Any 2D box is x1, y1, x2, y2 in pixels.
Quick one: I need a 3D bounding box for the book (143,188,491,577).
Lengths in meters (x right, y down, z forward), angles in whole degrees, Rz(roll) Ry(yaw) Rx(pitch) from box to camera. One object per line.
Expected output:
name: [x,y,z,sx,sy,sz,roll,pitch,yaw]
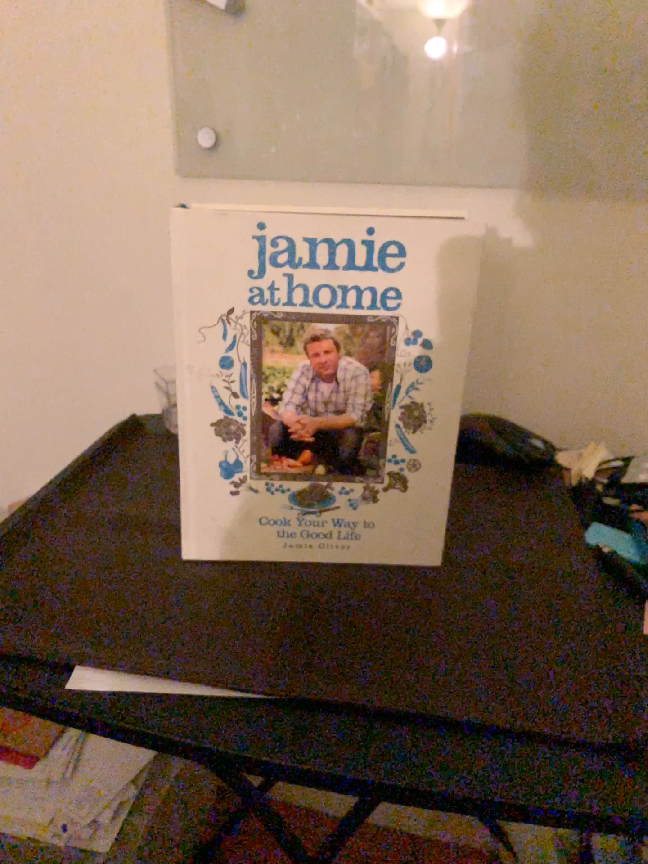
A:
book: [-0.008,-0.027,0.482,0.210,0.269,0.050,2,23,0]
